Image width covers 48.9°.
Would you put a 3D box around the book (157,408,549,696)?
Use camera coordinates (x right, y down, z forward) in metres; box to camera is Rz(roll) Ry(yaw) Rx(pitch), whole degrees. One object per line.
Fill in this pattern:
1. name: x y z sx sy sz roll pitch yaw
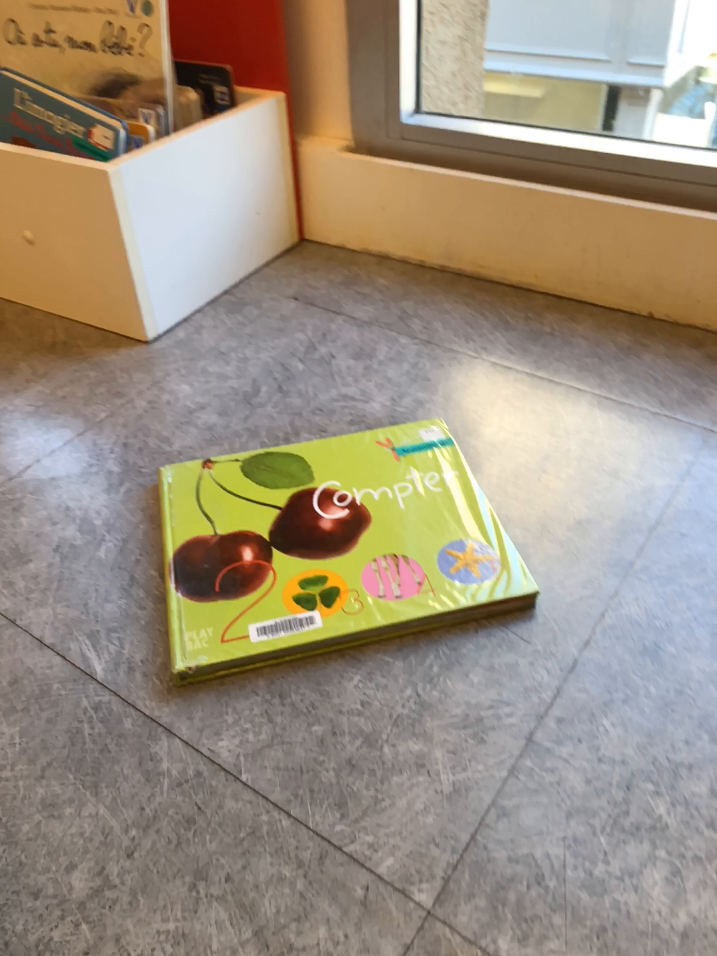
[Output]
1. book: -0.019 0.040 0.610 0.256 0.021 0.223 -10 43 -9
